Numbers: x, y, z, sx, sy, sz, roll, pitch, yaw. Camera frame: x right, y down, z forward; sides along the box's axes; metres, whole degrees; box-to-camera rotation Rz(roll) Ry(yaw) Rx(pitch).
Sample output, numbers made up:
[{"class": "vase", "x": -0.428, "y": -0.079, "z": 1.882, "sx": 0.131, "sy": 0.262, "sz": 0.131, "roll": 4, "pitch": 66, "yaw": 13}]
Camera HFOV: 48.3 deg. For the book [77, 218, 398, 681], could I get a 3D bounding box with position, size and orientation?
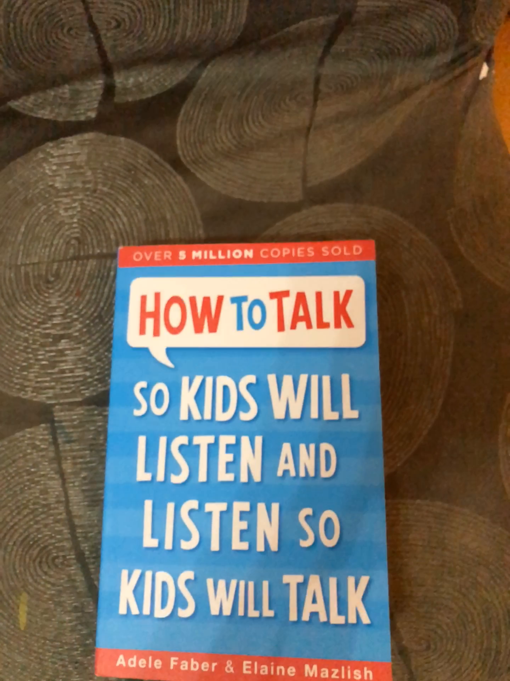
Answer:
[{"class": "book", "x": -0.008, "y": 0.049, "z": 0.276, "sx": 0.140, "sy": 0.030, "sz": 0.210, "roll": -1, "pitch": 82, "yaw": 5}]
